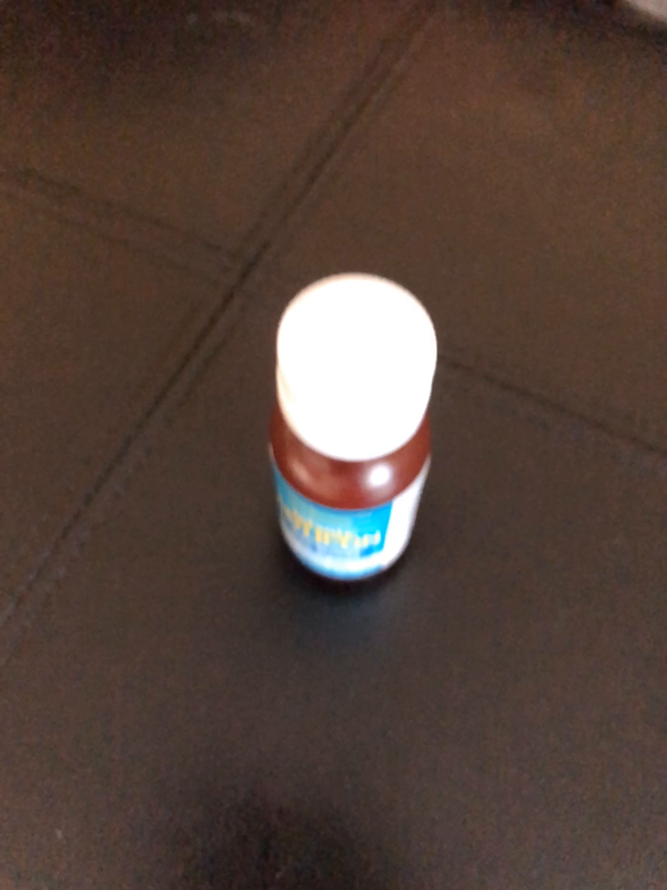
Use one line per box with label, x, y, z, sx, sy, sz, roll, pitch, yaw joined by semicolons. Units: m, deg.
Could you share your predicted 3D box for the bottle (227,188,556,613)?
bottle;0.010;-0.002;0.153;0.040;0.080;0.040;0;63;0
